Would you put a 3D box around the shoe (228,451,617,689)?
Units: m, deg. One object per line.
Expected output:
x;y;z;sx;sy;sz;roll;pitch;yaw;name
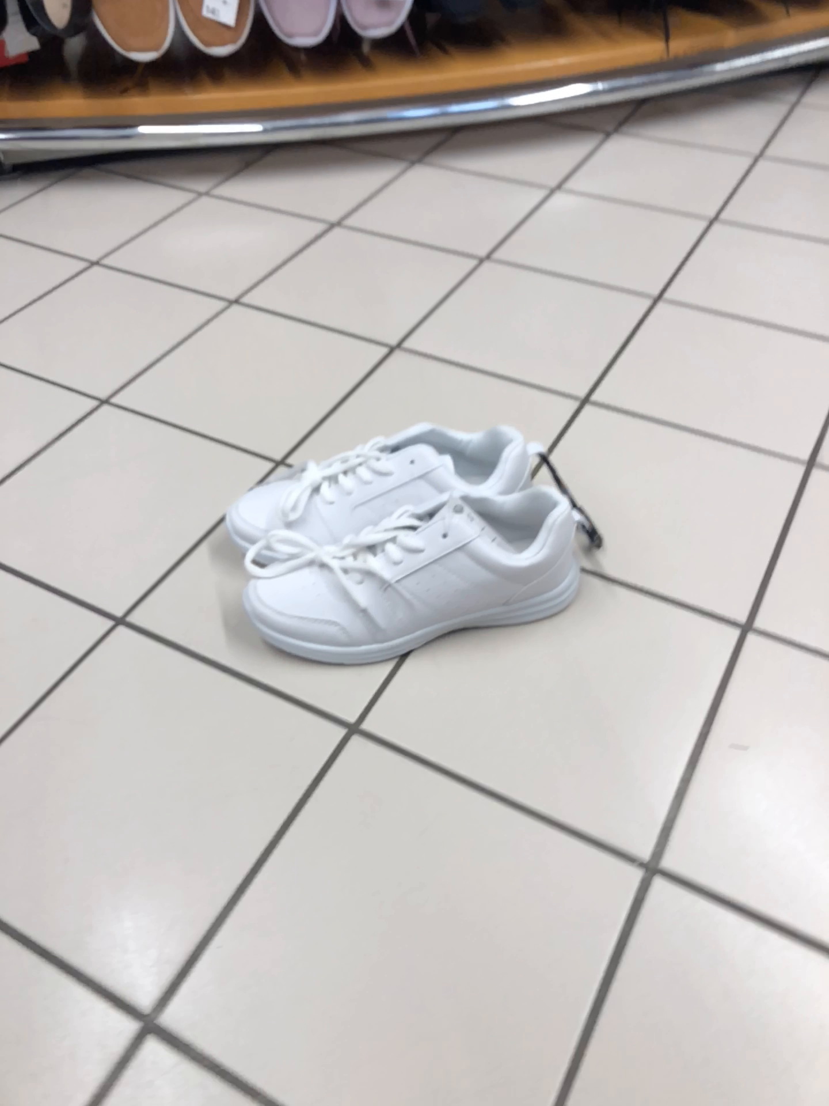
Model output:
0.003;0.010;0.626;0.240;0.089;0.090;-9;45;-6;shoe

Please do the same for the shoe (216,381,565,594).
-0.019;-0.051;0.692;0.240;0.089;0.090;-9;45;-6;shoe
